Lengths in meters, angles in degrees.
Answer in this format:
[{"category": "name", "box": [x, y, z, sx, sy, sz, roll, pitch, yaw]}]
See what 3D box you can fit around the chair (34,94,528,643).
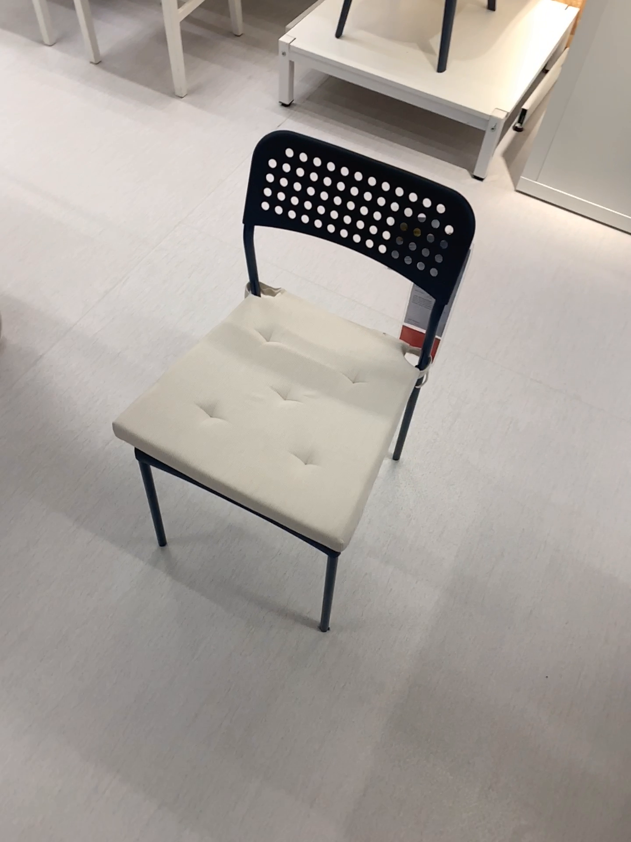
[{"category": "chair", "box": [-0.034, -0.030, 1.141, 0.450, 0.758, 0.491, 25, 60, 13]}]
